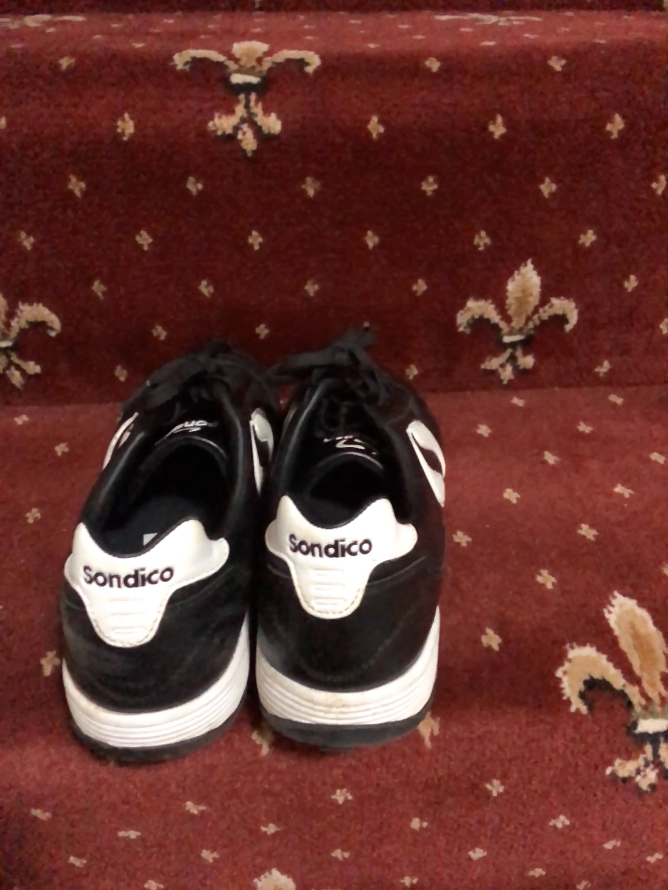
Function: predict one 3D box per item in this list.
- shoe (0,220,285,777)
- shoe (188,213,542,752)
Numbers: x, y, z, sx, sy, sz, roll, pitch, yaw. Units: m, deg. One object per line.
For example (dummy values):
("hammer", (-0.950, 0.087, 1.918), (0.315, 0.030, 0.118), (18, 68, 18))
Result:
("shoe", (-0.075, -0.011, 0.359), (0.100, 0.099, 0.302), (-1, 34, -3))
("shoe", (0.009, -0.017, 0.361), (0.100, 0.099, 0.302), (1, 34, 0))
